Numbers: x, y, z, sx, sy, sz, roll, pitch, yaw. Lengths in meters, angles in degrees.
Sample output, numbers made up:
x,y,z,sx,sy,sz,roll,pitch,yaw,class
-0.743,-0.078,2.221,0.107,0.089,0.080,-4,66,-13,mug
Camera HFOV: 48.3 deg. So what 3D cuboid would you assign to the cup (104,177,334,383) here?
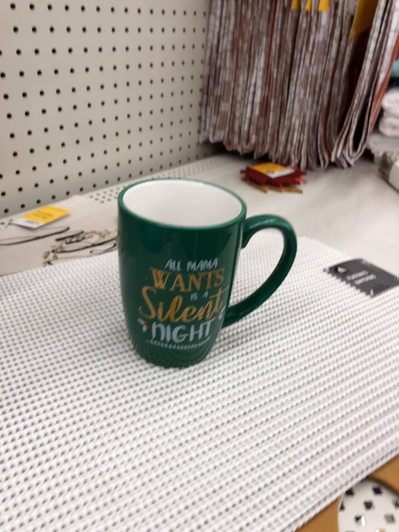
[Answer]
x,y,z,sx,sy,sz,roll,pitch,yaw,class
0.003,0.004,0.336,0.140,0.110,0.100,-3,31,-11,cup
